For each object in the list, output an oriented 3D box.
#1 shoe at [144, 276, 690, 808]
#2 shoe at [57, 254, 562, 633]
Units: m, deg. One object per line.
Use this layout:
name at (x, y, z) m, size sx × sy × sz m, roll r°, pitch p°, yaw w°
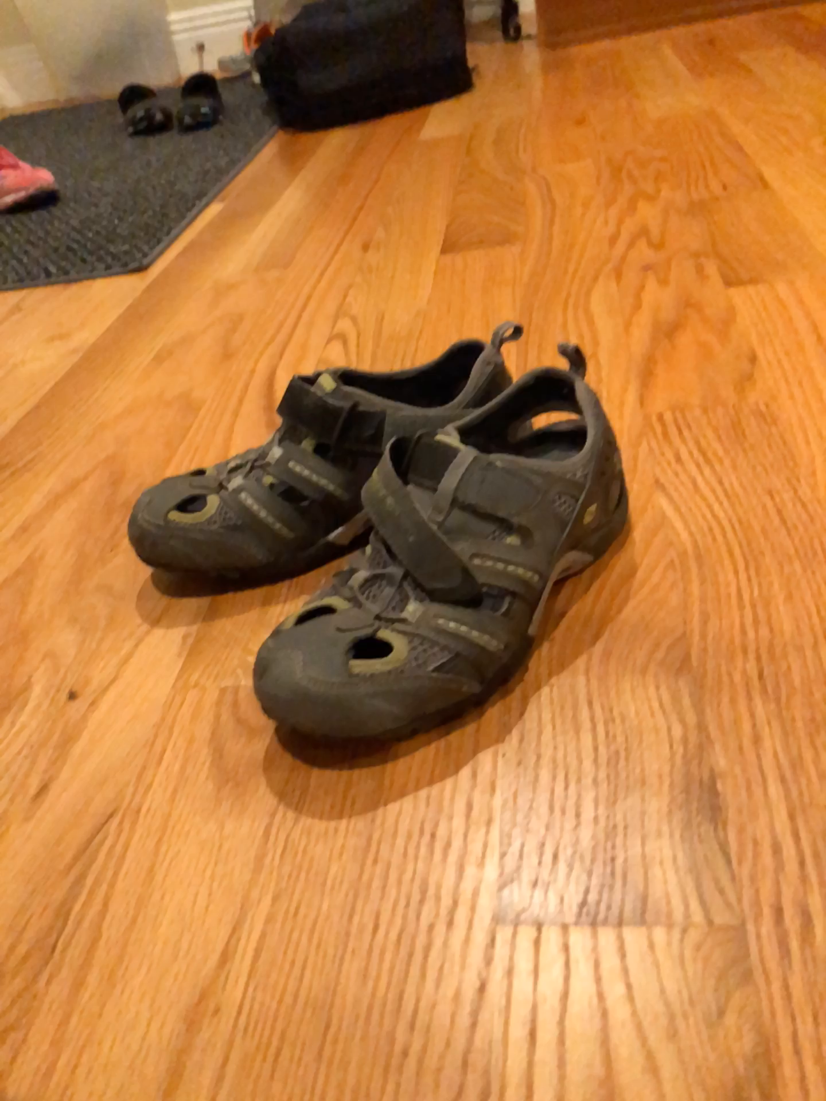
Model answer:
shoe at (0.022, -0.024, 0.421) m, size 0.100 × 0.112 × 0.246 m, roll 20°, pitch 46°, yaw 38°
shoe at (-0.055, -0.066, 0.509) m, size 0.245 × 0.112 × 0.101 m, roll -19°, pitch 35°, yaw -10°
